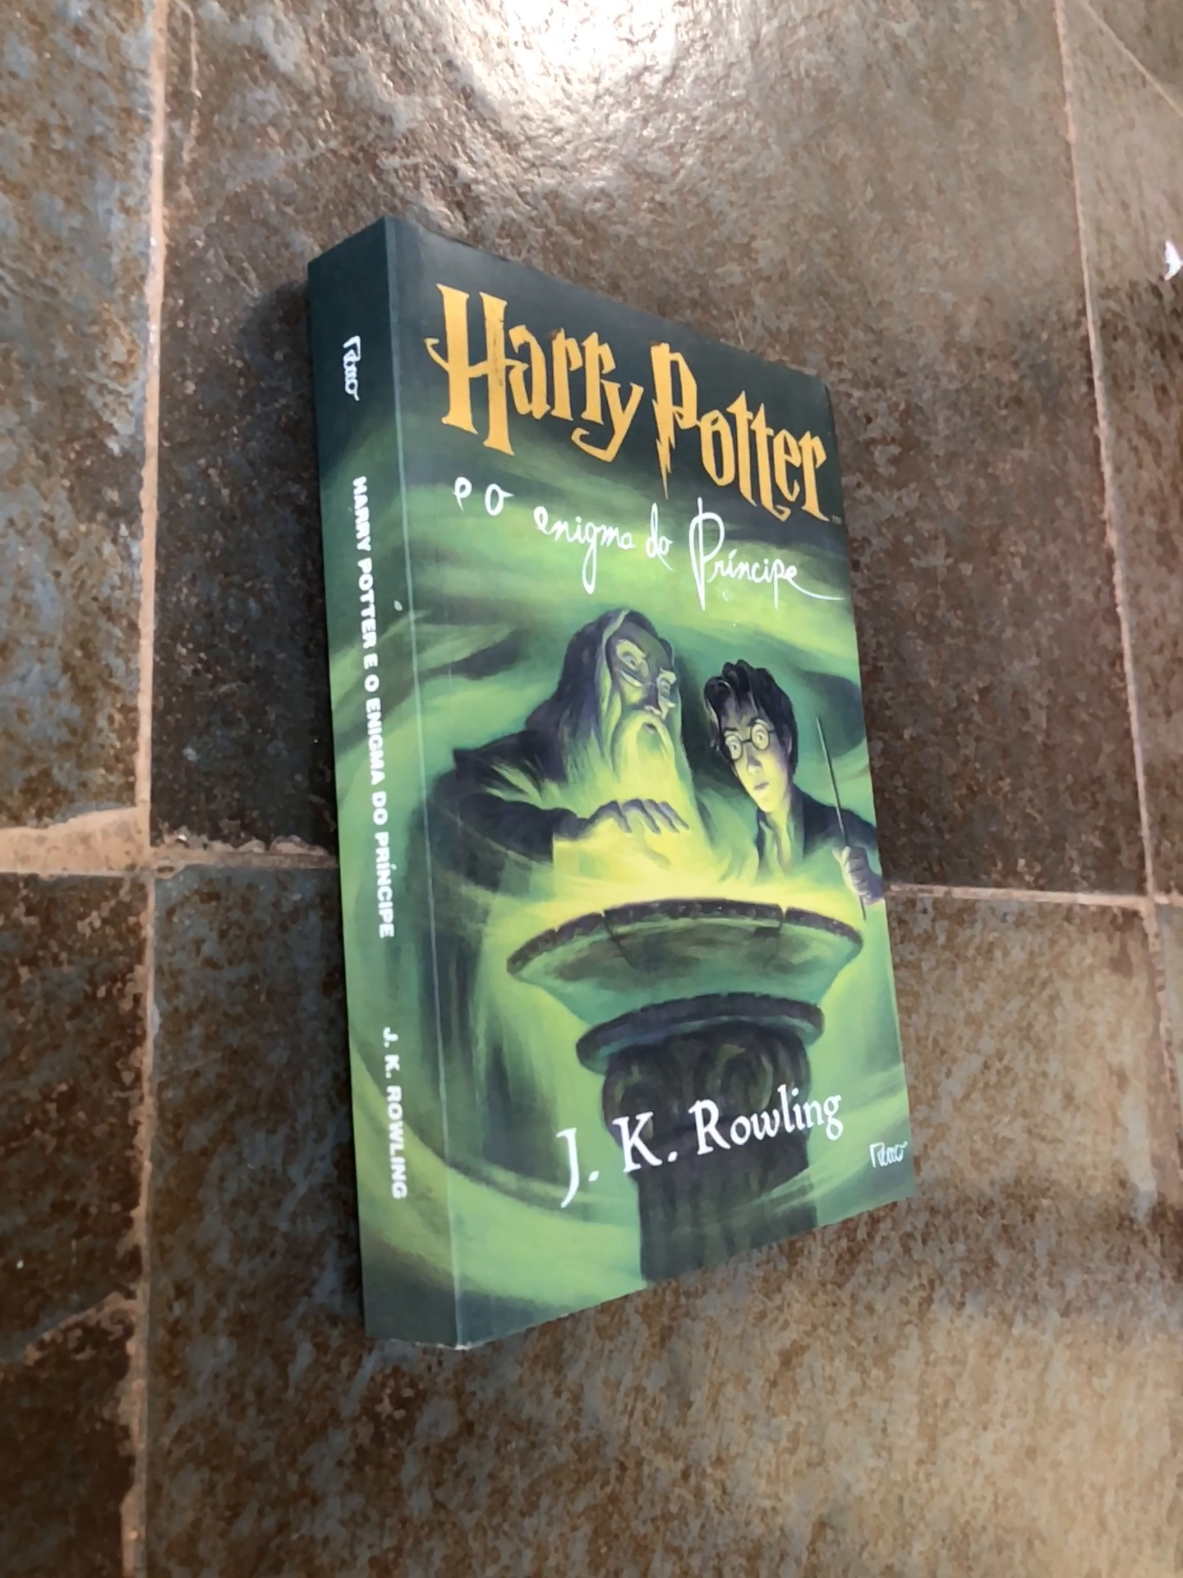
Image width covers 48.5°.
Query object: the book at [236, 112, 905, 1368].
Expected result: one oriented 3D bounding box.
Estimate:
[{"bbox_3d":[0.003,-0.009,0.267,0.143,0.030,0.200,3,80,-45],"label":"book"}]
